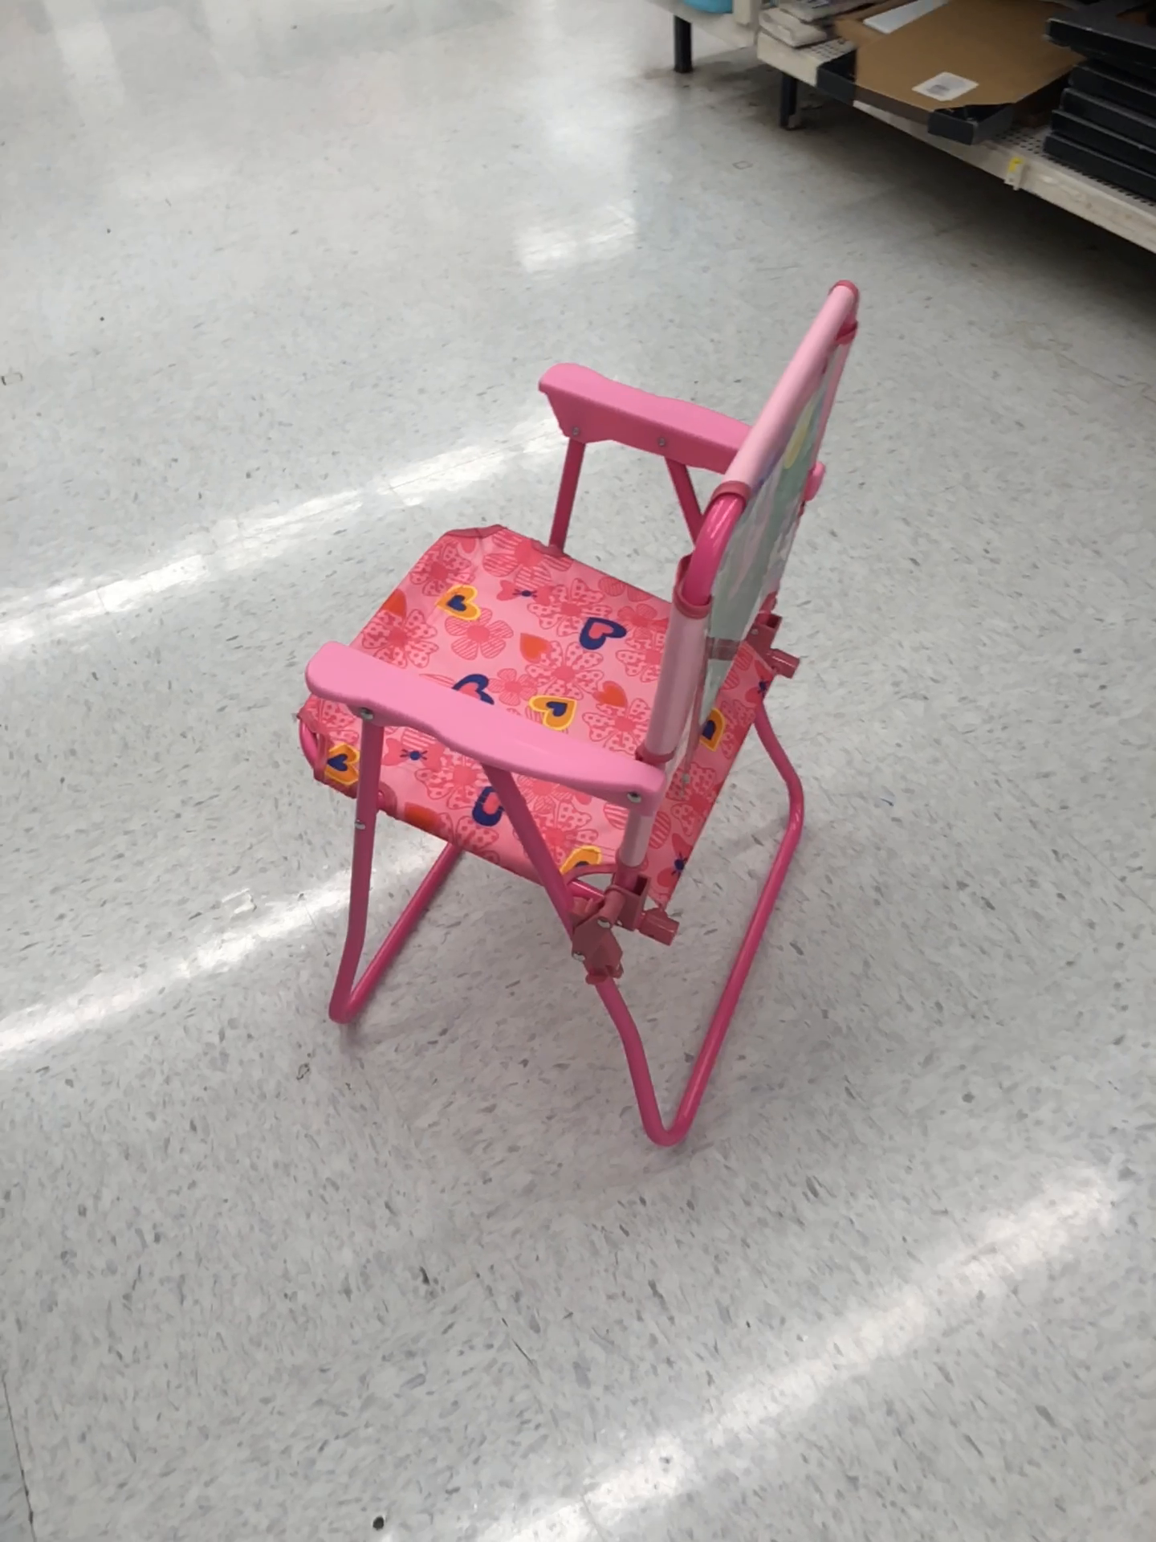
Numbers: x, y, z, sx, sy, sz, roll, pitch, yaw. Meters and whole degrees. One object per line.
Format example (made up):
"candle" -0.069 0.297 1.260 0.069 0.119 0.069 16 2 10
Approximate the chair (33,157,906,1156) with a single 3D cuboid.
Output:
"chair" -0.024 -0.074 0.860 0.341 0.488 0.361 16 50 19
